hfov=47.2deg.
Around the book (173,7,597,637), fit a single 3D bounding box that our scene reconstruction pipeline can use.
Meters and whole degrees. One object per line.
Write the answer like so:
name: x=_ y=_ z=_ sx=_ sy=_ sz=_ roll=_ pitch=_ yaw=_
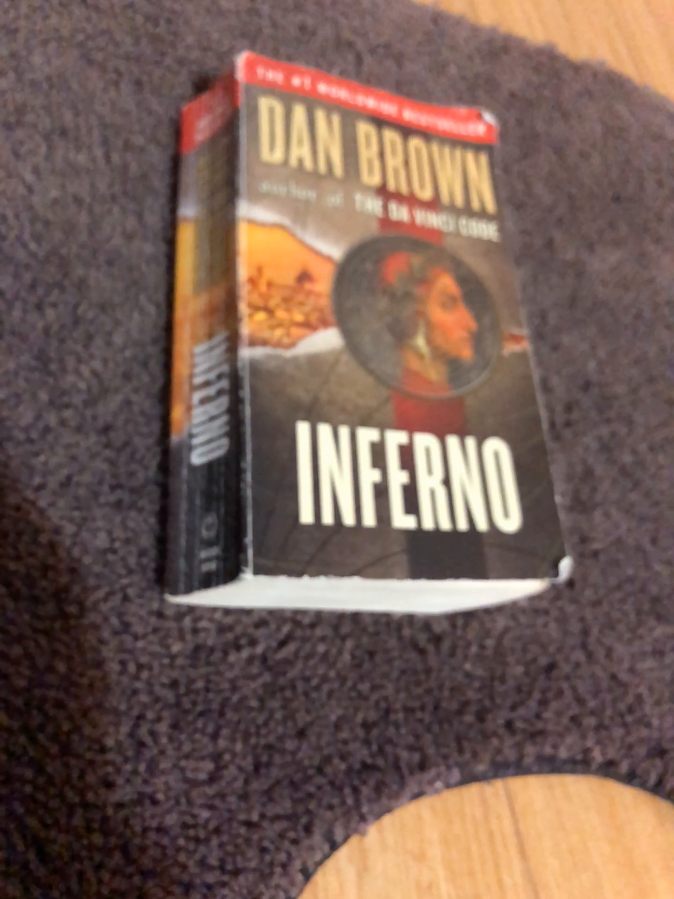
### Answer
book: x=0.010 y=-0.040 z=0.270 sx=0.120 sy=0.050 sz=0.200 roll=6 pitch=68 yaw=-25
